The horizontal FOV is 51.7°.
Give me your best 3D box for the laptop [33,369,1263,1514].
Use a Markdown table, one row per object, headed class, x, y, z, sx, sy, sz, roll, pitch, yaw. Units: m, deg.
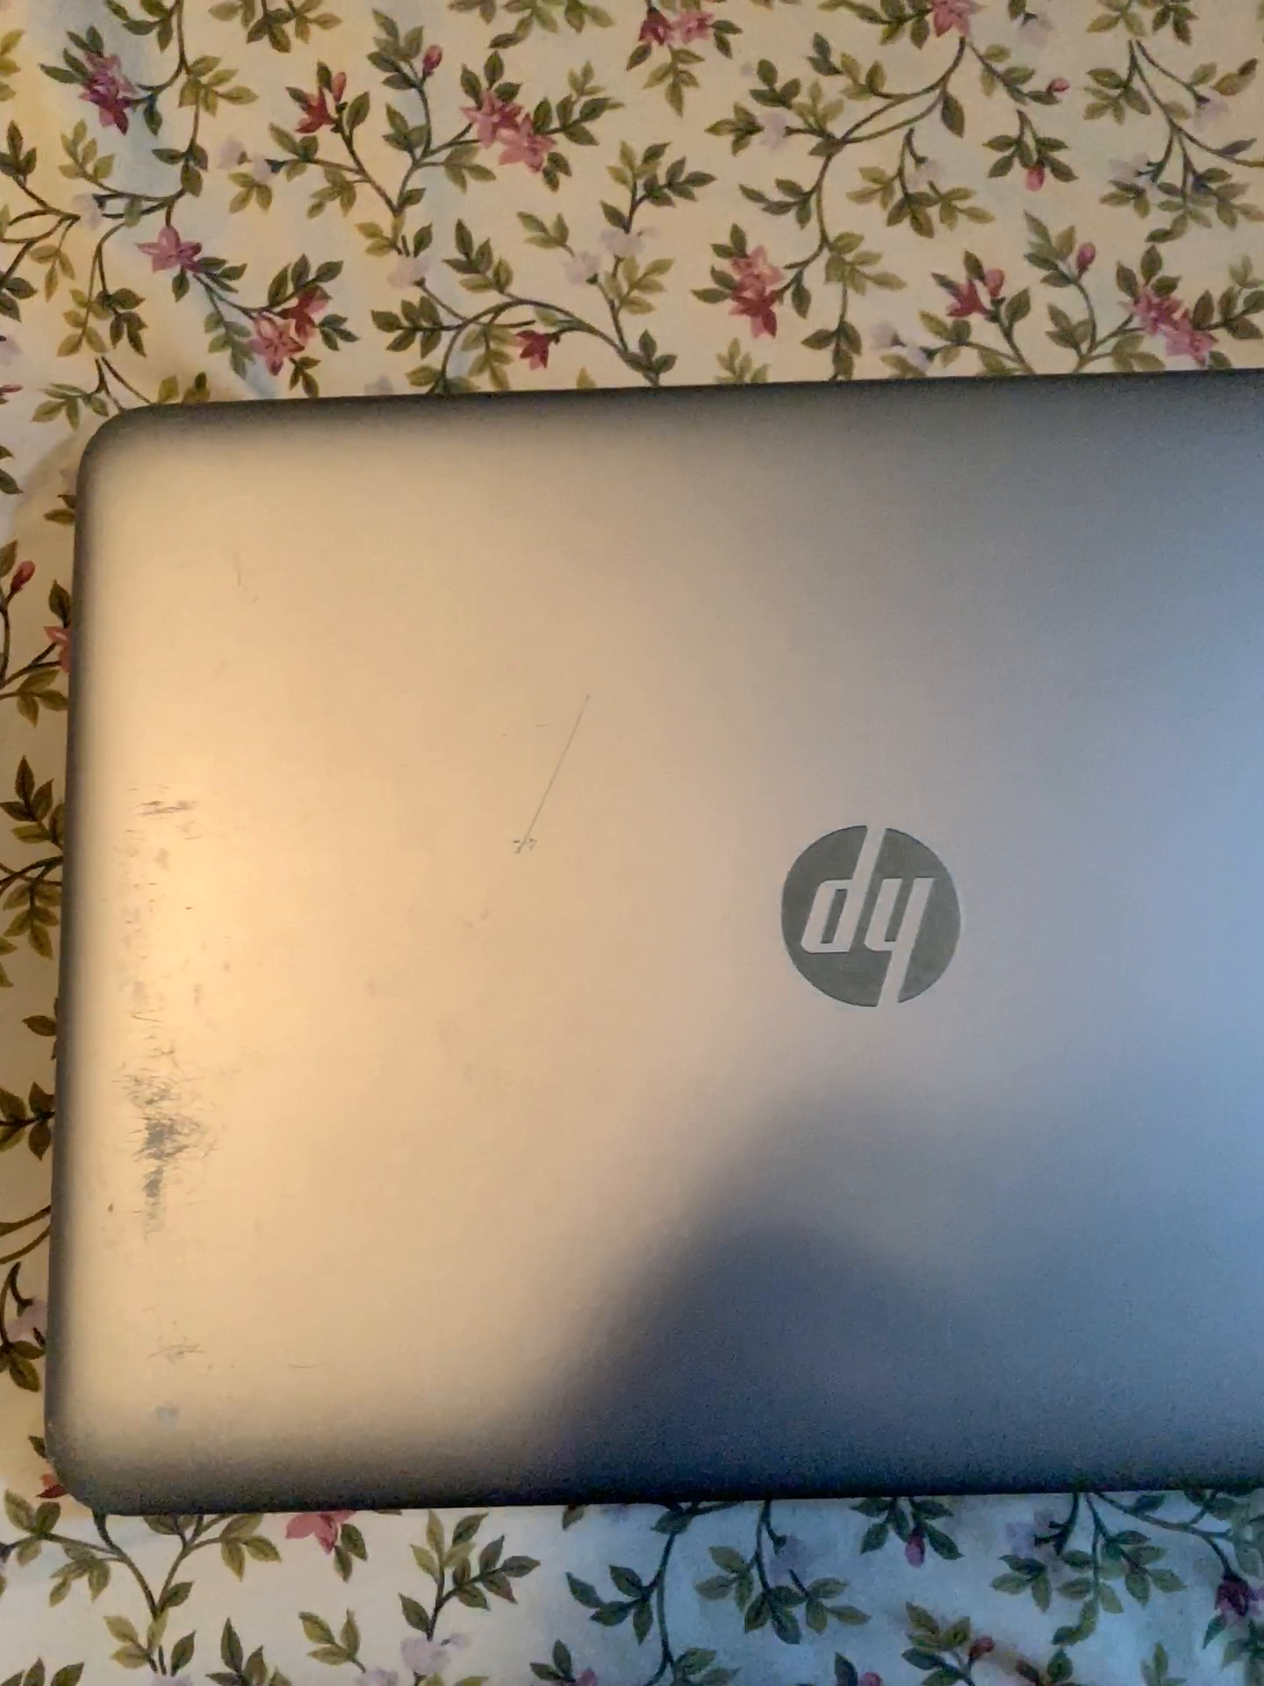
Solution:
| class | x | y | z | sx | sy | sz | roll | pitch | yaw |
| --- | --- | --- | --- | --- | --- | --- | --- | --- | --- |
| laptop | 0.049 | 0.013 | 0.276 | 0.336 | 0.010 | 0.228 | -2 | 81 | 0 |
